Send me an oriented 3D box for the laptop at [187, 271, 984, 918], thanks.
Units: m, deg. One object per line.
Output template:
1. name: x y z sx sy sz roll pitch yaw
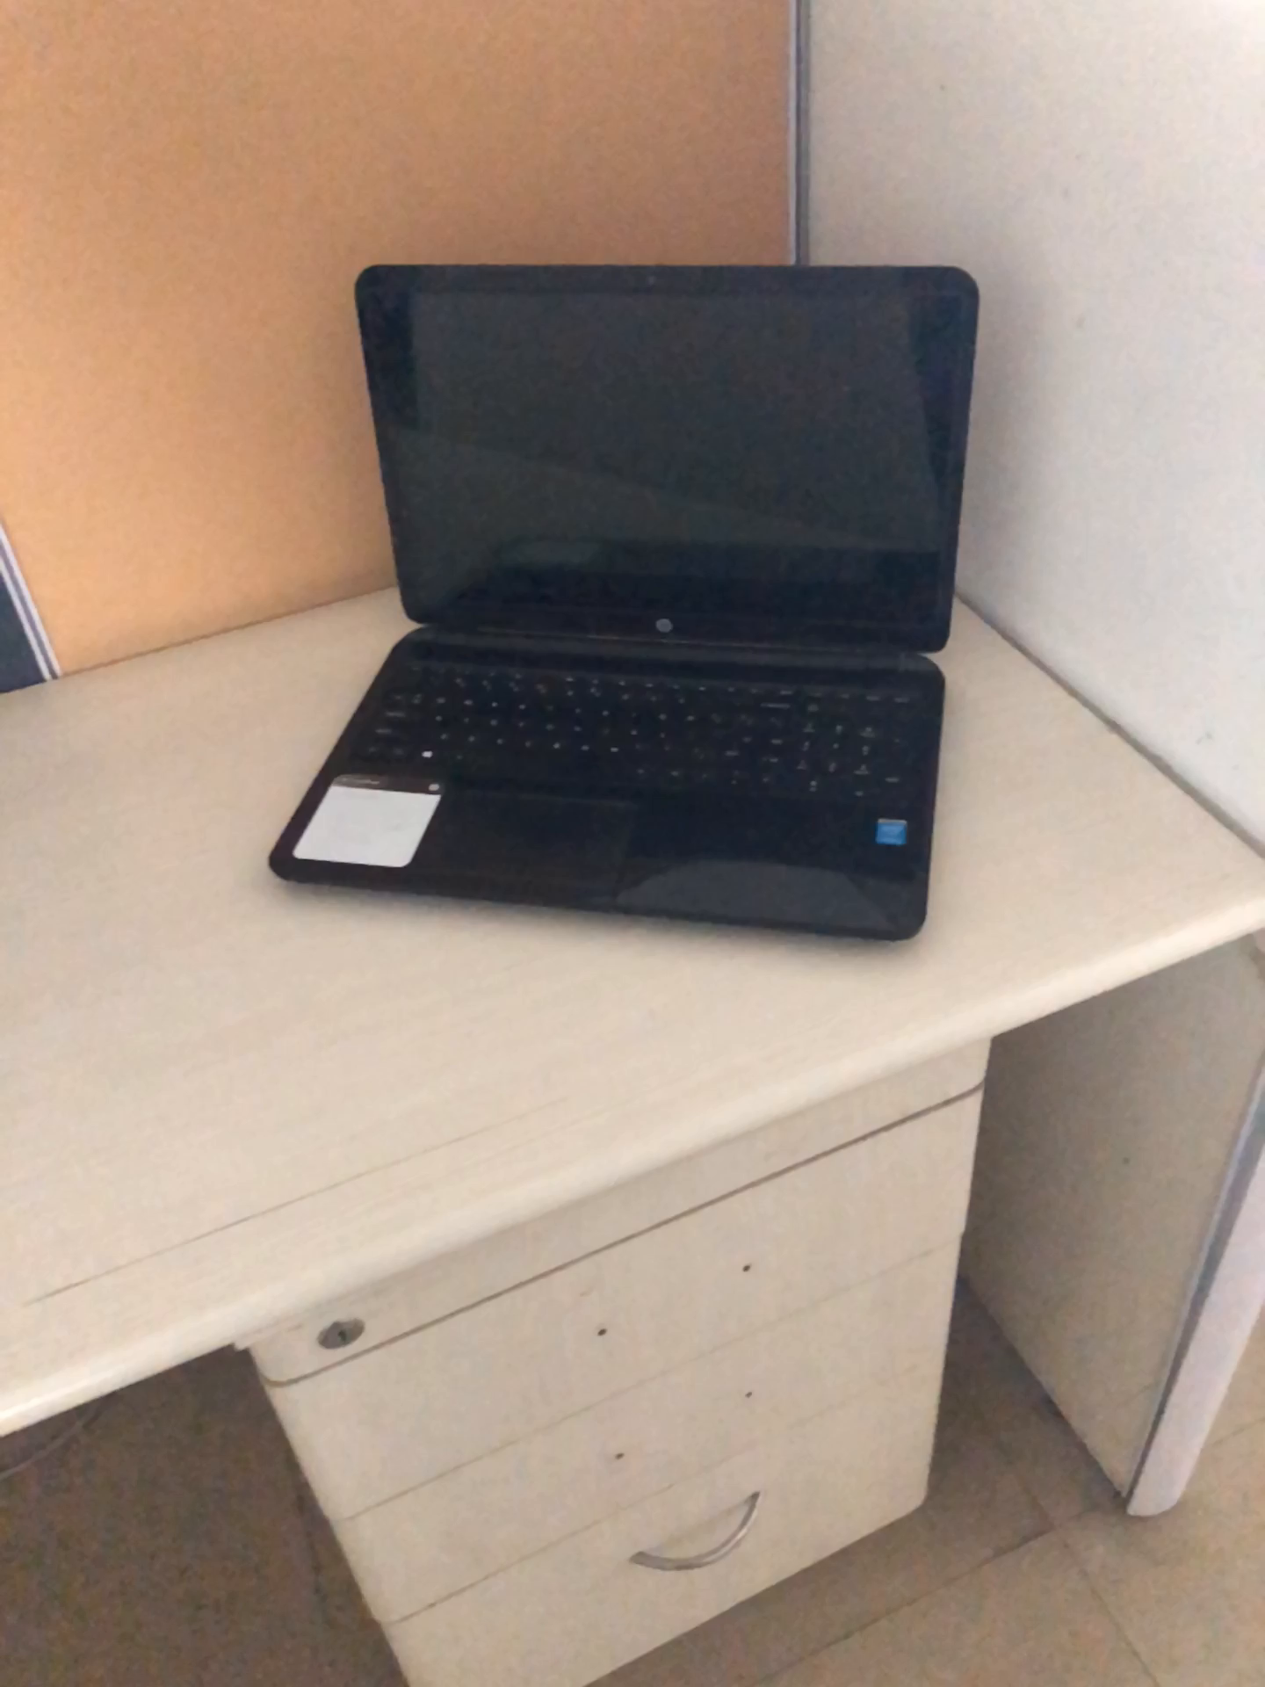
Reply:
1. laptop: 0.001 -0.153 0.784 0.350 0.225 0.267 6 43 12
